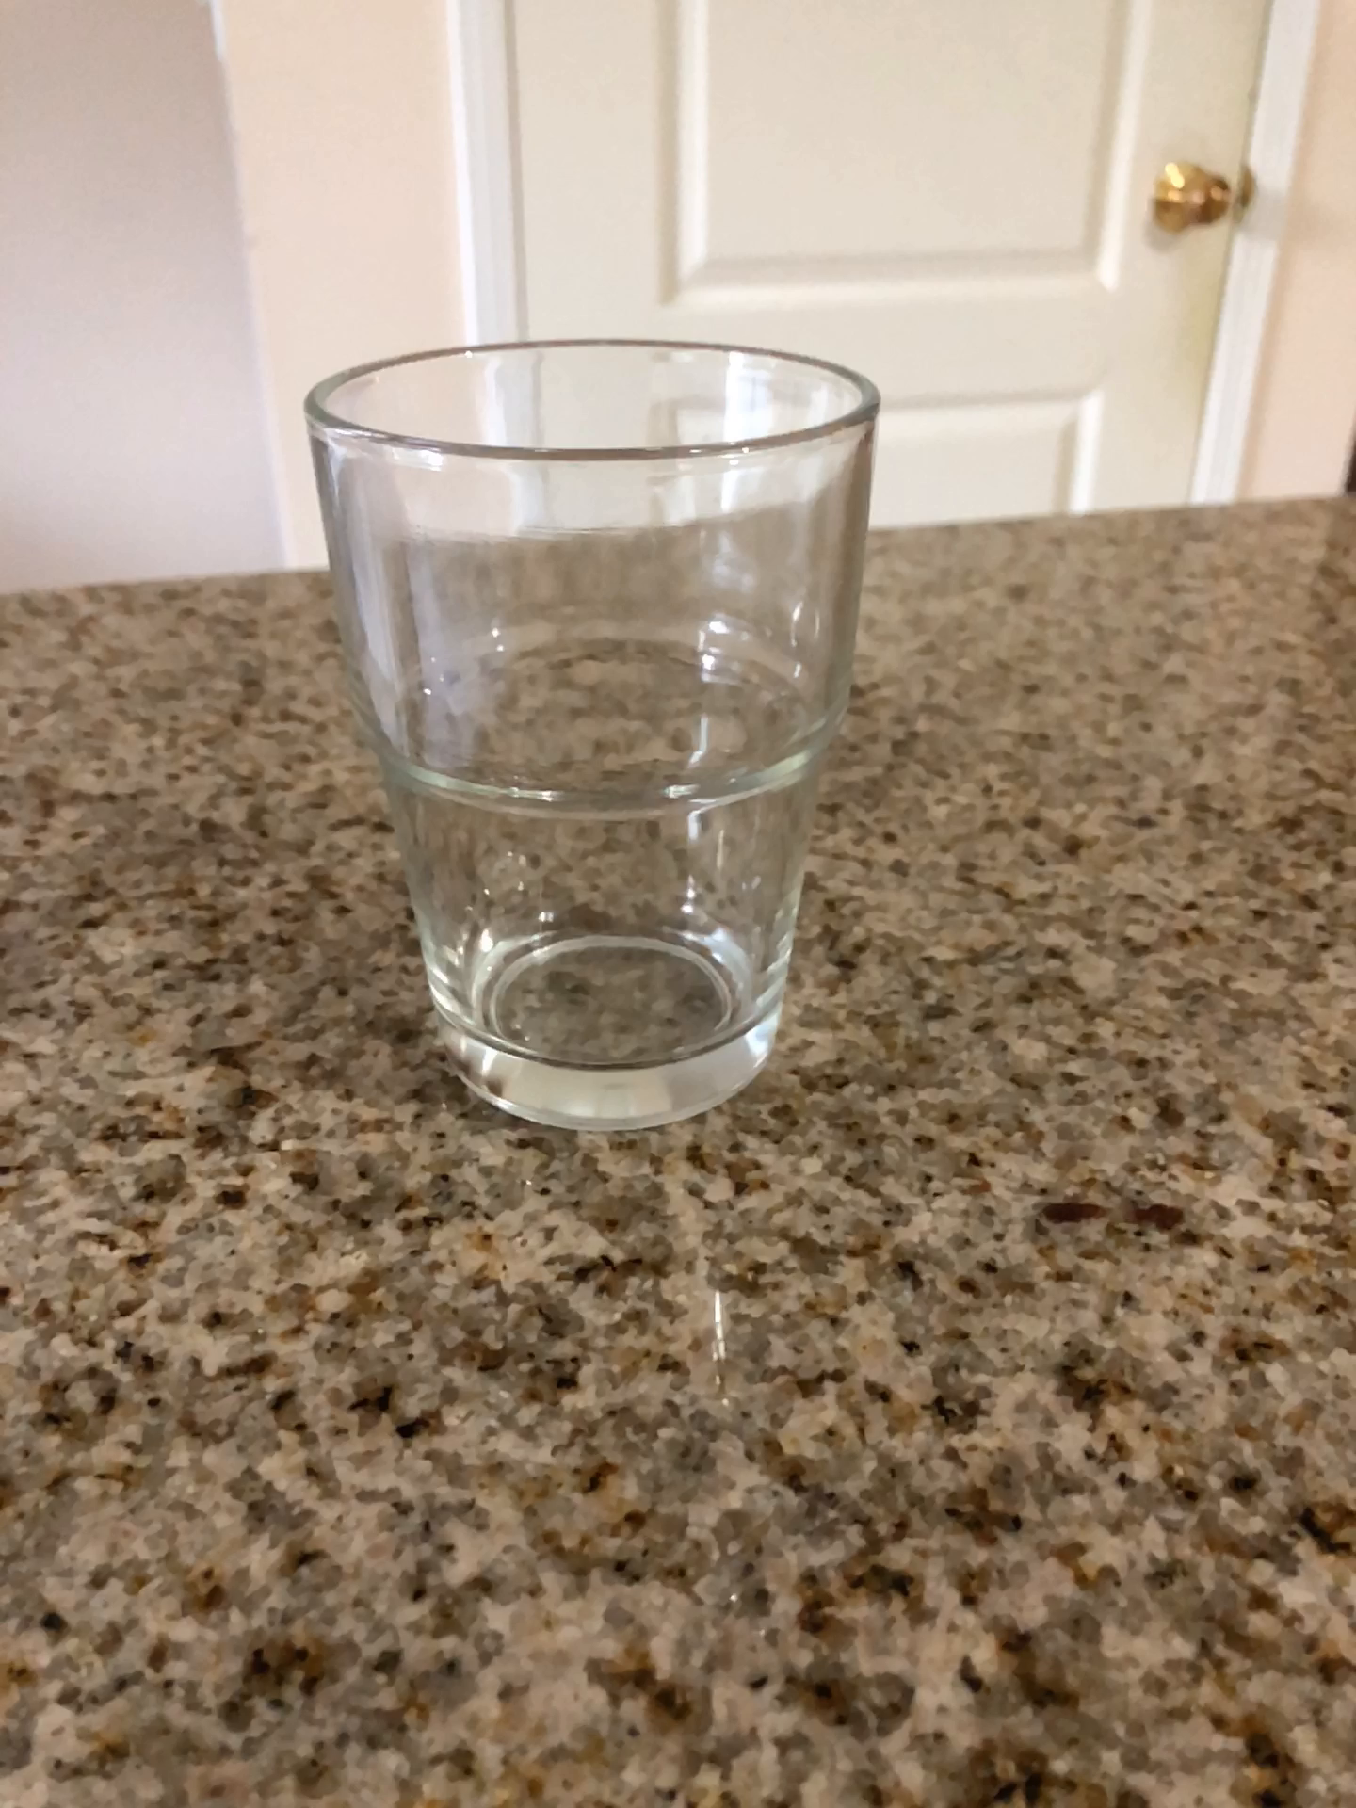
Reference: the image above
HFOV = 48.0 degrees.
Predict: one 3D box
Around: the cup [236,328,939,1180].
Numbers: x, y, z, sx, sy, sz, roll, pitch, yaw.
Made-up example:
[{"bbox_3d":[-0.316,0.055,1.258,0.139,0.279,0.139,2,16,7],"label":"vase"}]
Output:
[{"bbox_3d":[-0.010,-0.028,0.232,0.070,0.099,0.070,0,29,0],"label":"cup"}]
